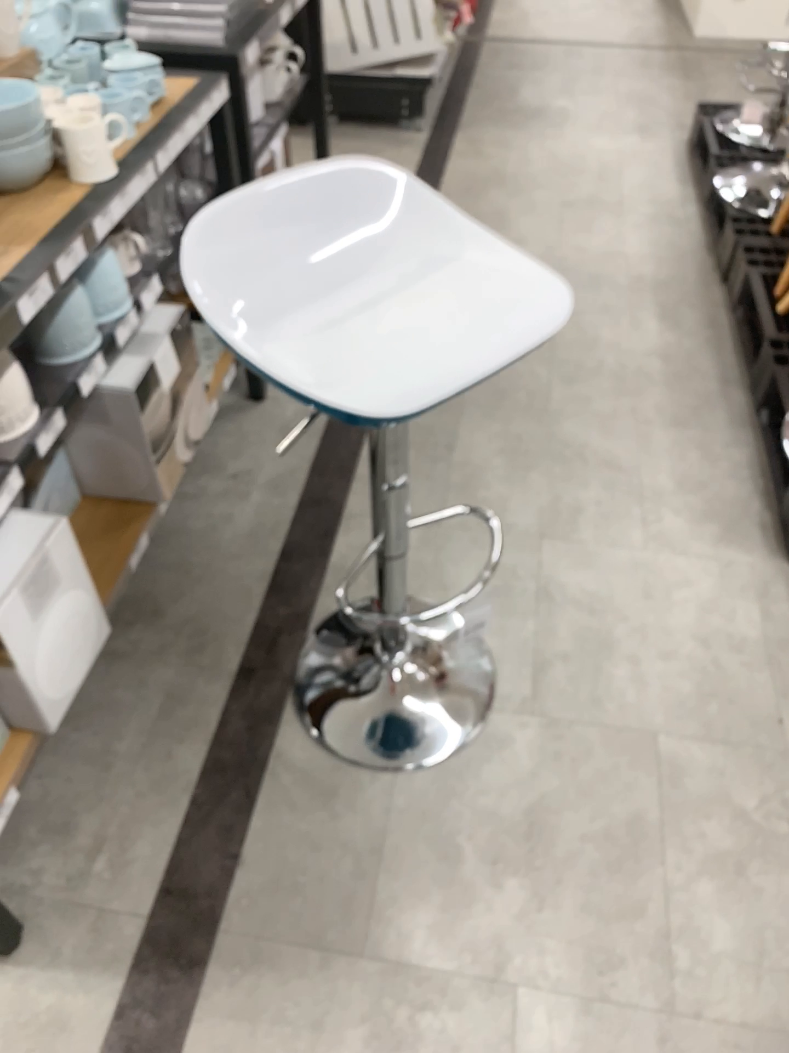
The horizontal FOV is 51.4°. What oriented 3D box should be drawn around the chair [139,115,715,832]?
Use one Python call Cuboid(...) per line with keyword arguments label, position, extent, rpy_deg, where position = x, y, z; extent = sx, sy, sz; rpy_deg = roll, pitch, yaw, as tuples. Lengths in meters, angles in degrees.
Cuboid(label="chair", position=(0.028, -0.041, 1.177), extent=(0.456, 0.825, 0.422), rpy_deg=(-32, 54, -27))
